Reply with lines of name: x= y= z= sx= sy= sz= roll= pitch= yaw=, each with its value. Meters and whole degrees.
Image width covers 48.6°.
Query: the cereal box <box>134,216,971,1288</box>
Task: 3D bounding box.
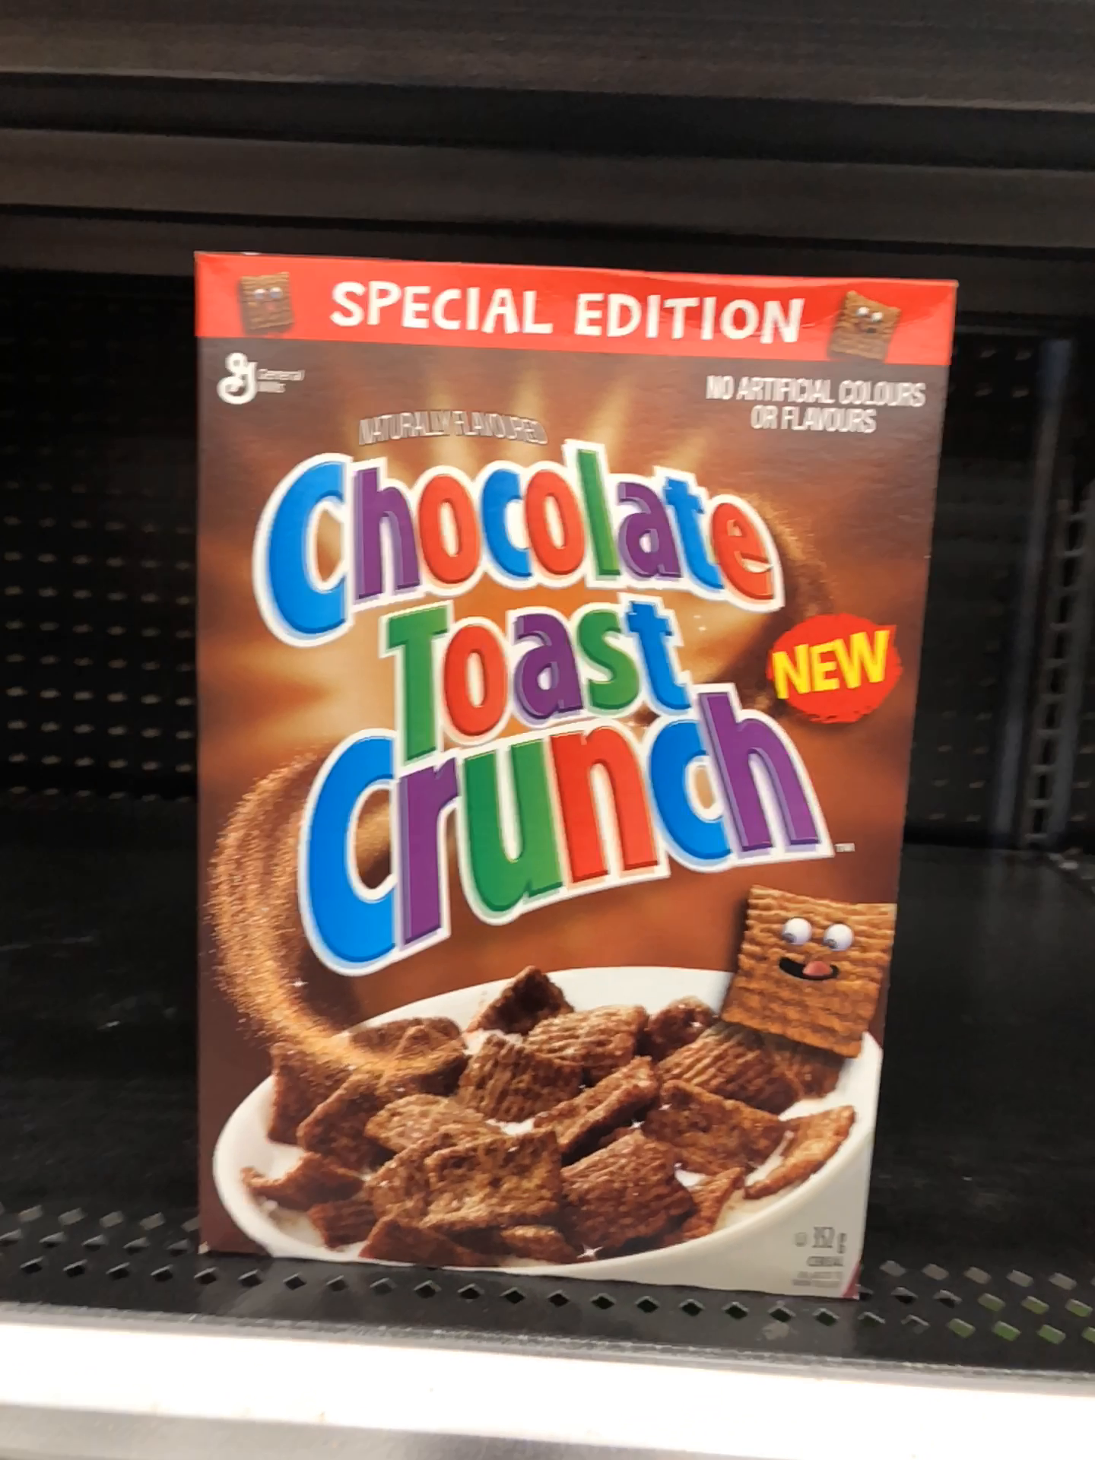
cereal box: x=-0.005 y=0.009 z=0.336 sx=0.200 sy=0.269 sz=0.050 roll=3 pitch=10 yaw=2
